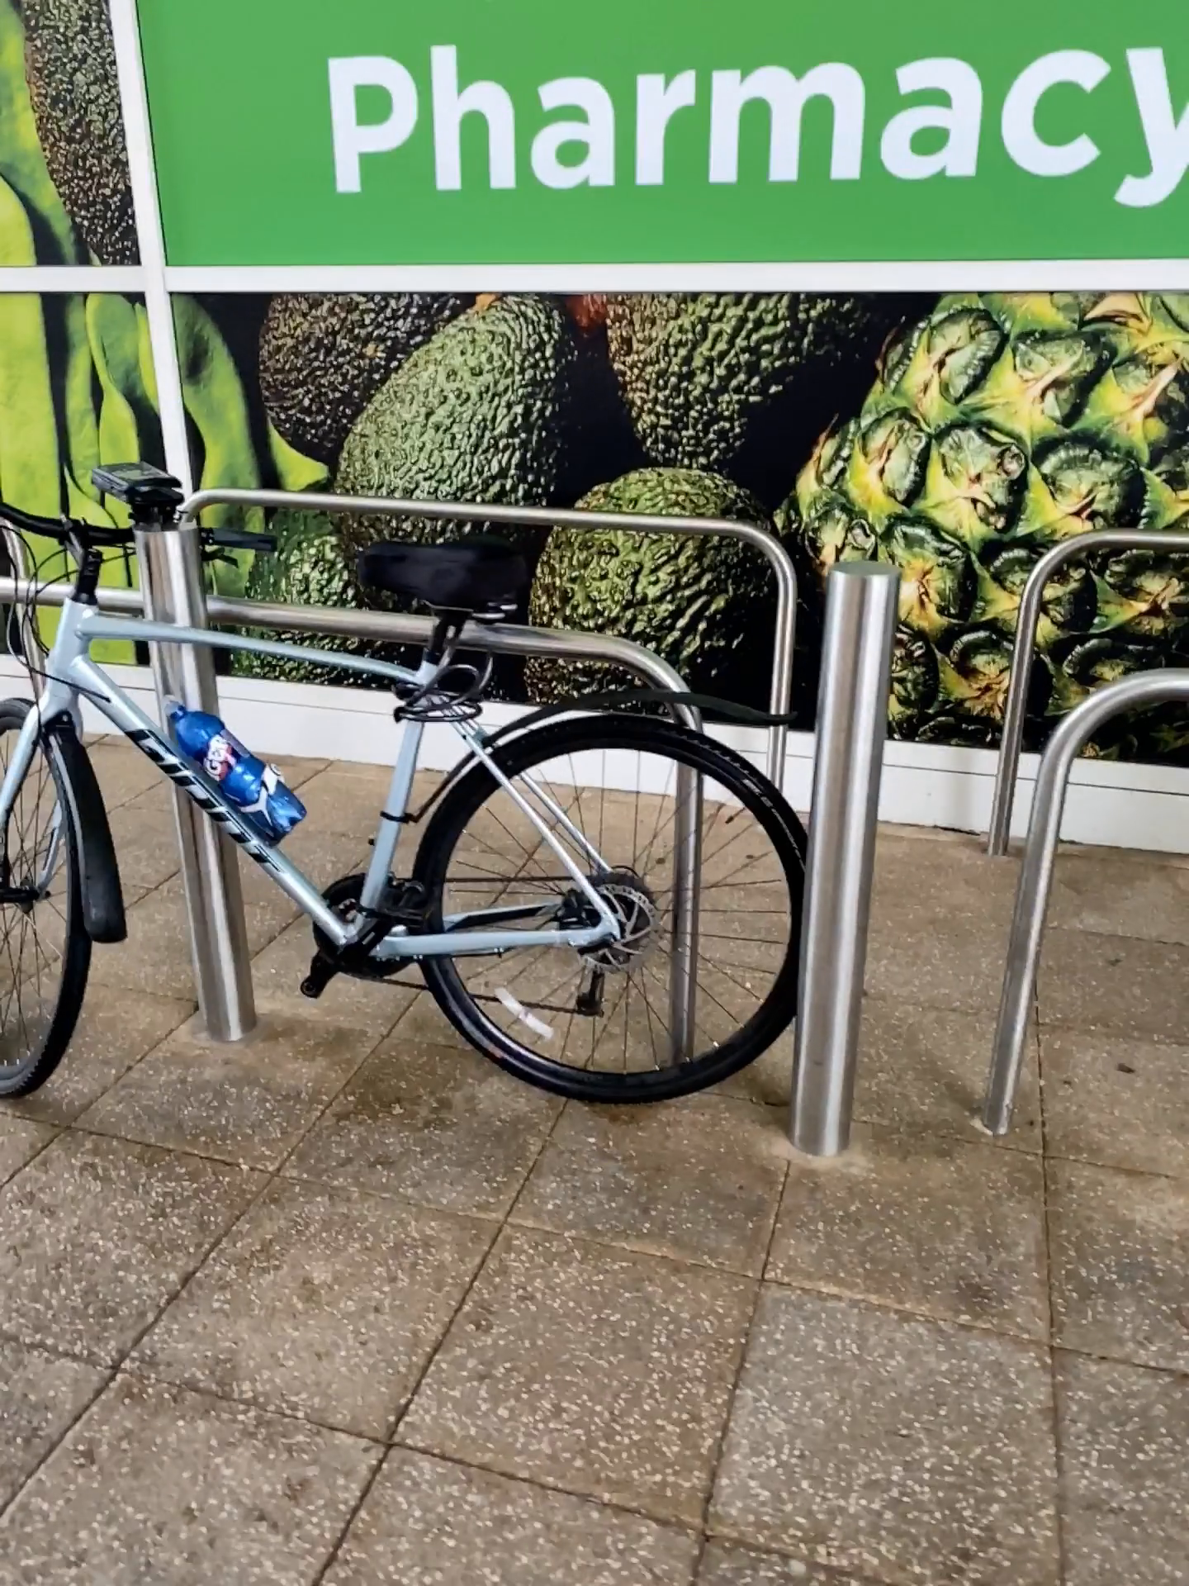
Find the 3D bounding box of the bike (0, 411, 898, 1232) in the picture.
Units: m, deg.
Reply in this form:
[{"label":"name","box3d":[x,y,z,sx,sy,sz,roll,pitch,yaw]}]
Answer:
[{"label":"bike","box3d":[-0.361,-0.034,1.835,1.462,0.963,0.608,4,22,9]}]
